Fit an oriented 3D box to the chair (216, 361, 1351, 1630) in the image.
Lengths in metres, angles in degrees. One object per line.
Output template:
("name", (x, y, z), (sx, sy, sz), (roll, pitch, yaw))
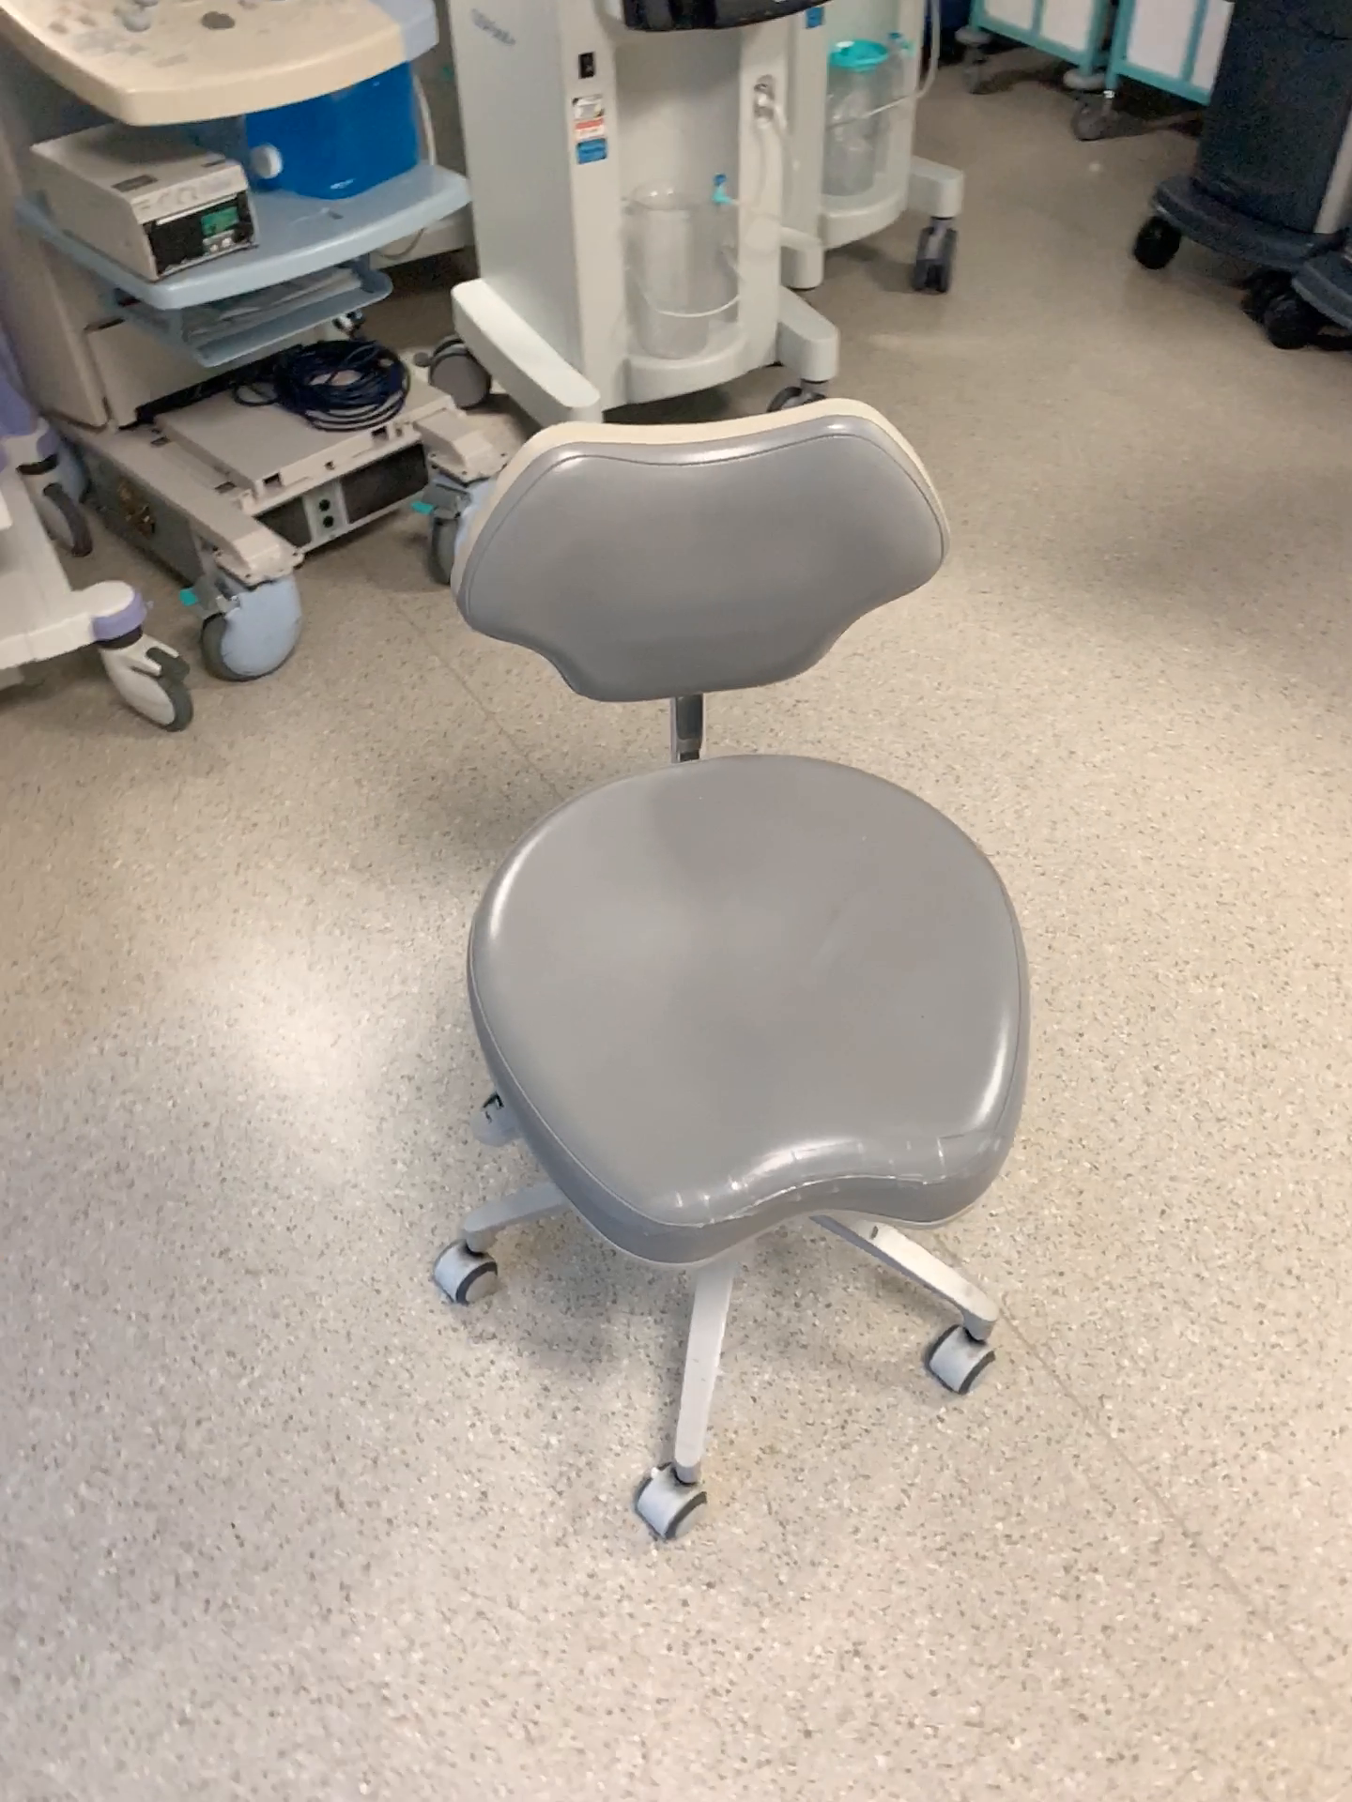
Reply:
("chair", (0.024, 0.109, 1.179), (0.600, 0.823, 0.605), (-11, 48, -8))
